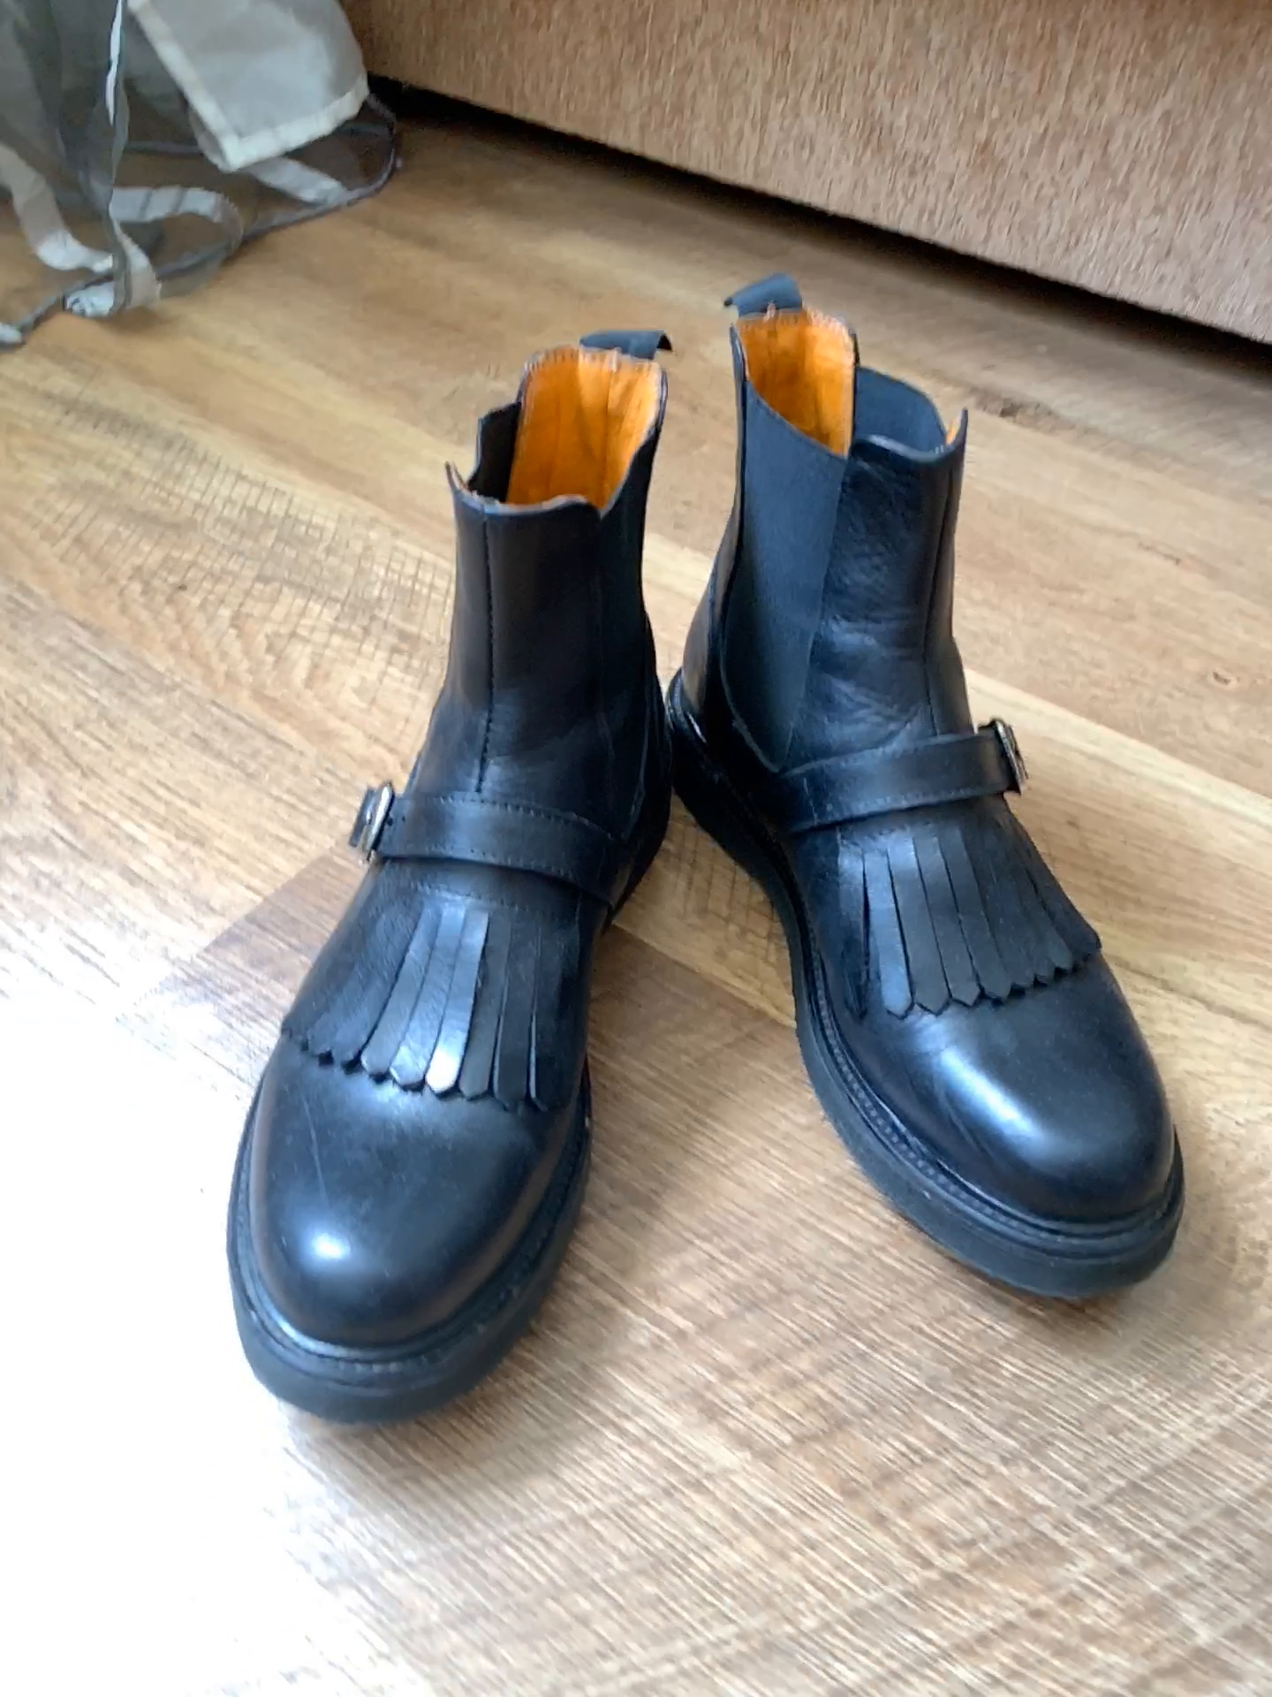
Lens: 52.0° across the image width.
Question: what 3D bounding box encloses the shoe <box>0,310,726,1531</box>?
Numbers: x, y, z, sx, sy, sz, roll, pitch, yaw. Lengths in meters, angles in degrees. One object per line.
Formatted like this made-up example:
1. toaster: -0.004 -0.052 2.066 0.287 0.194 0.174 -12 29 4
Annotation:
1. shoe: -0.046 0.000 0.329 0.089 0.151 0.261 9 47 6

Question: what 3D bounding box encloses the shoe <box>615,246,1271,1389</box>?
1. shoe: 0.084 -0.026 0.347 0.100 0.149 0.261 -13 49 -14
